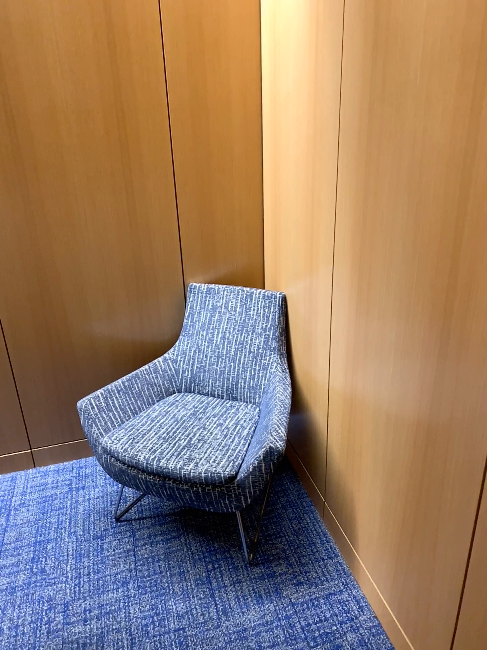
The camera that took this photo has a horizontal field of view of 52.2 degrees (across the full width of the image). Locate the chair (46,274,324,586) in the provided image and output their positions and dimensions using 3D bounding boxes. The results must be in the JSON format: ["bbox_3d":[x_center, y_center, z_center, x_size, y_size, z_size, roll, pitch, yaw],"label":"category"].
[{"bbox_3d":[-0.138,0.298,1.759,0.700,0.747,0.616,7,25,19],"label":"chair"}]
